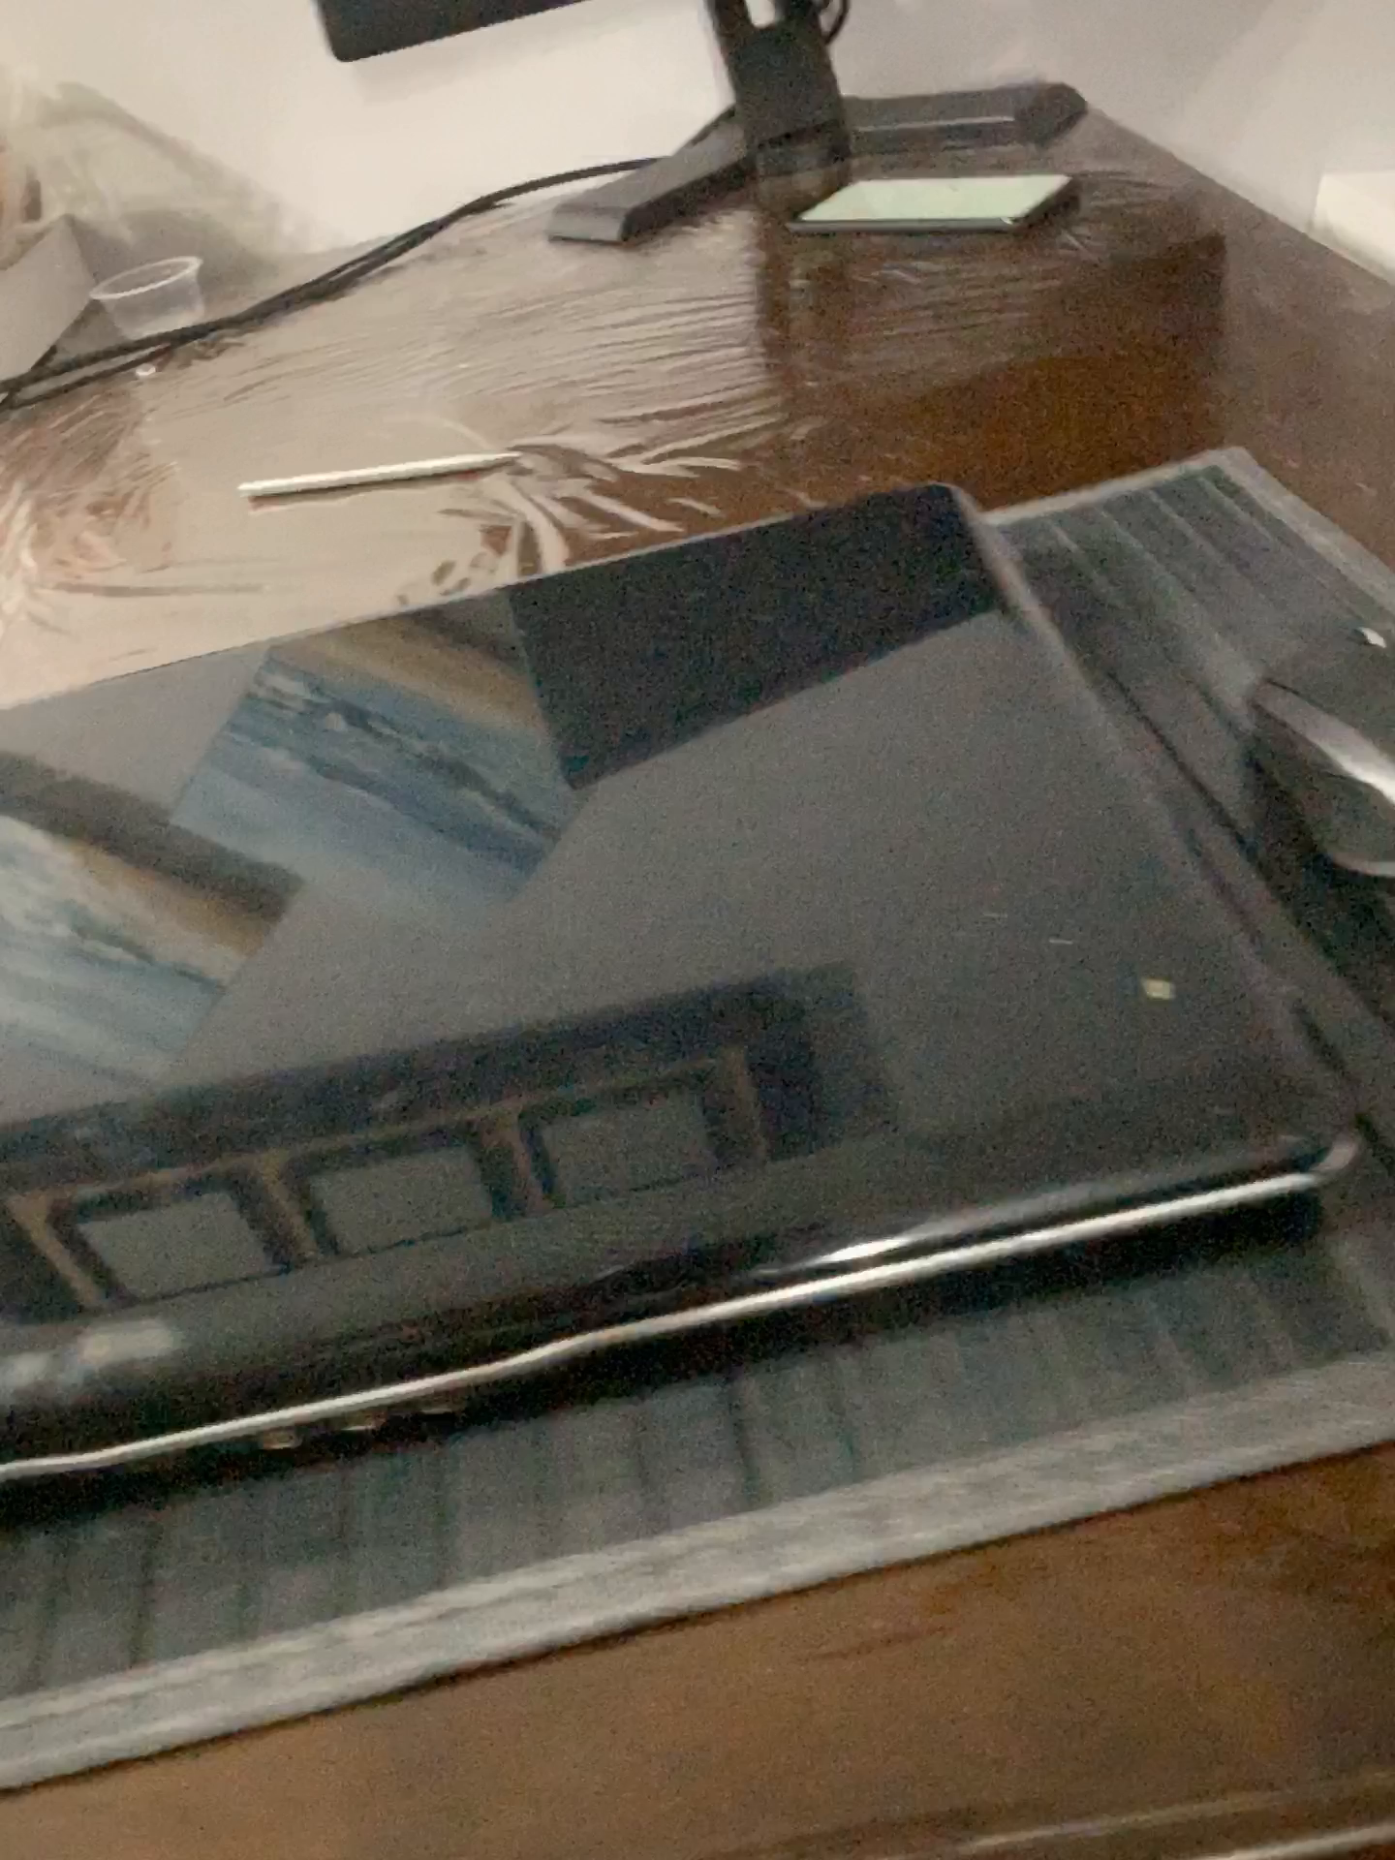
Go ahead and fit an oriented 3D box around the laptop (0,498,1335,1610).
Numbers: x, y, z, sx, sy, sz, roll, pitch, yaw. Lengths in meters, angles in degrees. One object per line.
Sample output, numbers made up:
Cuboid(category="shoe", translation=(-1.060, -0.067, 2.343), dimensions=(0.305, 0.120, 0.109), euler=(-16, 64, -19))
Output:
Cuboid(category="laptop", translation=(-0.078, -0.007, 0.315), dimensions=(0.339, 0.009, 0.232), euler=(-12, 41, -1))
